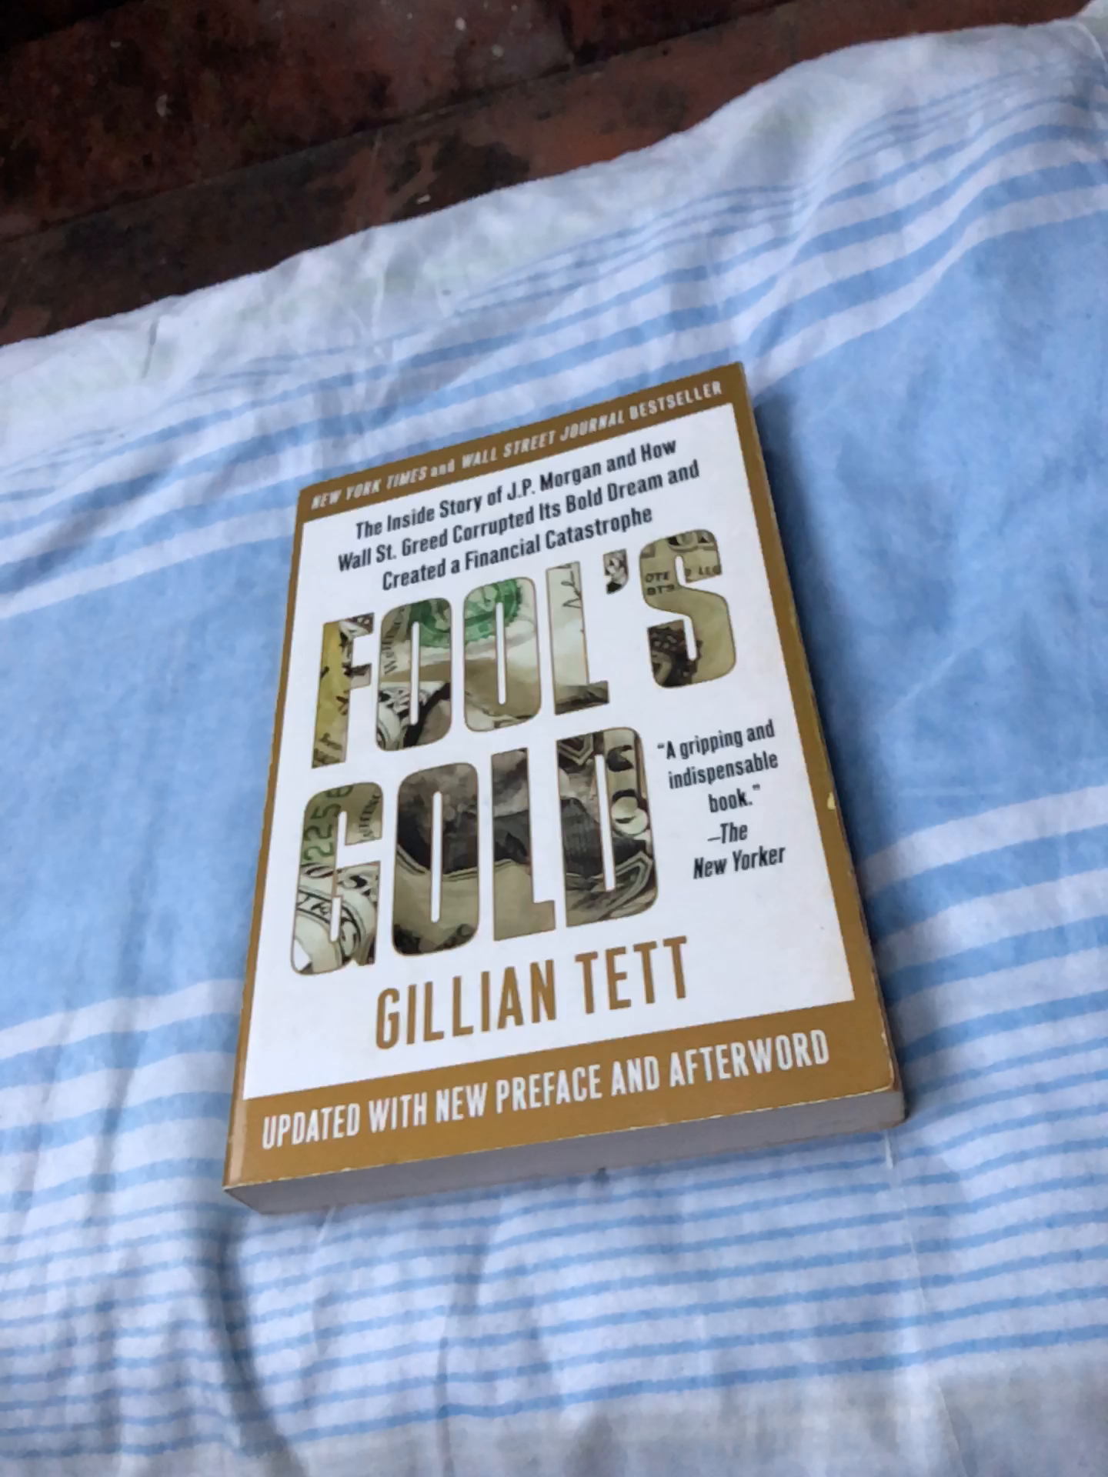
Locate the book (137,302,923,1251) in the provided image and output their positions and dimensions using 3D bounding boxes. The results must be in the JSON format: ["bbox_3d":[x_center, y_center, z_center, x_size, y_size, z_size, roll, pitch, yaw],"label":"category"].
[{"bbox_3d":[-0.011,-0.005,0.314,0.150,0.040,0.230,-13,51,13],"label":"book"}]
